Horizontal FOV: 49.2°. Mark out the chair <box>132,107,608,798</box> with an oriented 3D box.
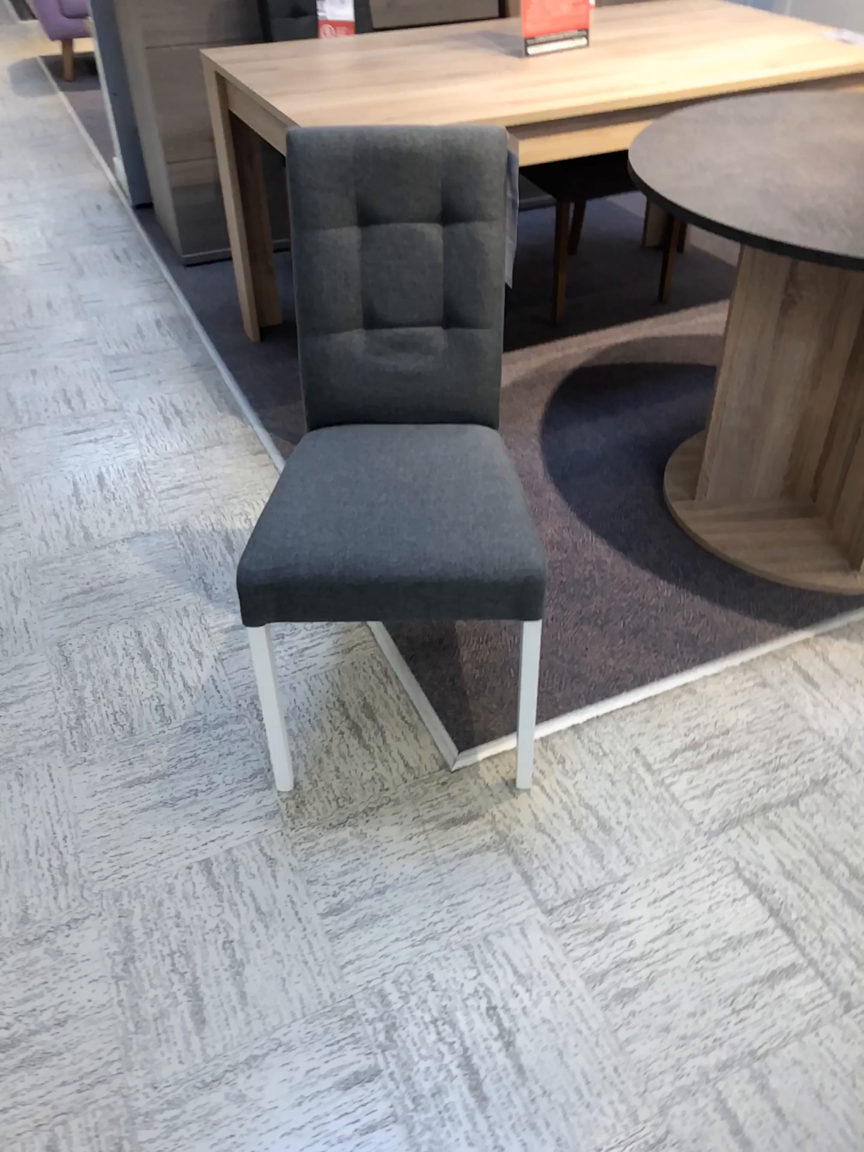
[{"bbox_3d":[-0.048,-0.171,1.396,0.460,0.825,0.584,0,39,1],"label":"chair"}]
